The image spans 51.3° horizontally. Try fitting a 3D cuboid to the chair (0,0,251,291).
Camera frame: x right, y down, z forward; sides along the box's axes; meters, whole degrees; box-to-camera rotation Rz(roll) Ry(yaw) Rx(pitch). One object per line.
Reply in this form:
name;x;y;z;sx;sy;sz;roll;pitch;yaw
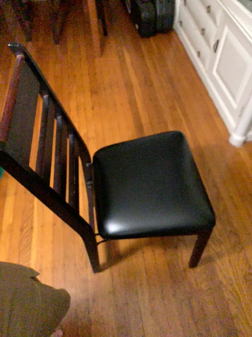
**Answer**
chair;0.043;0.003;0.870;0.550;0.867;0.492;-9;55;-4
